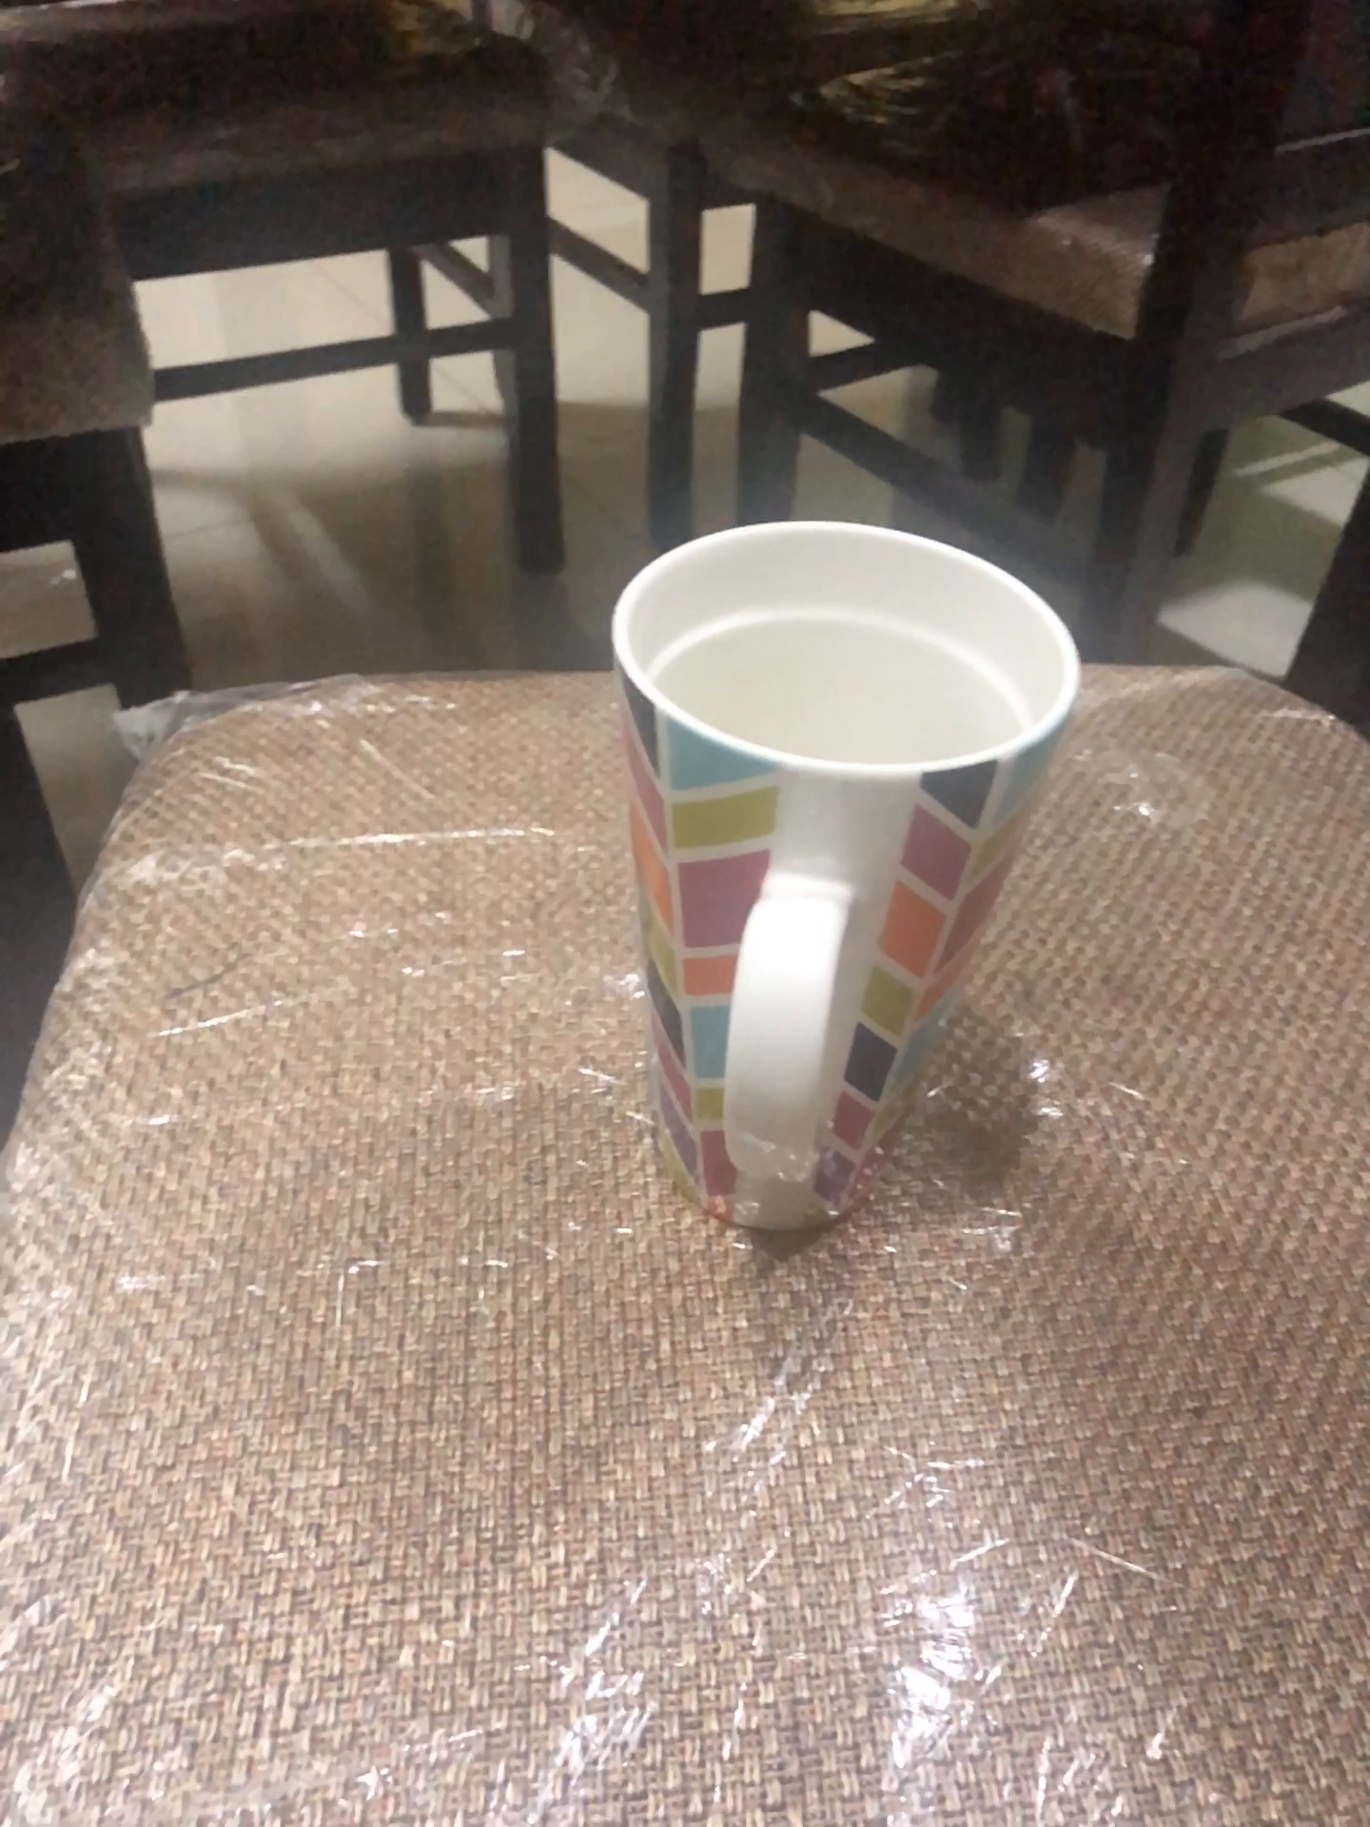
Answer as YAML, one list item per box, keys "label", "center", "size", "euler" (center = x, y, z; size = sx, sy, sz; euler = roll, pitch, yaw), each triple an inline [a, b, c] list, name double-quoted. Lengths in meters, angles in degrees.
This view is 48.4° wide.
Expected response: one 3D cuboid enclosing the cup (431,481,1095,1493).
- label: "cup"
  center: [0.018, 0.012, 0.311]
  size: [0.090, 0.139, 0.130]
  euler: [13, 42, 8]
